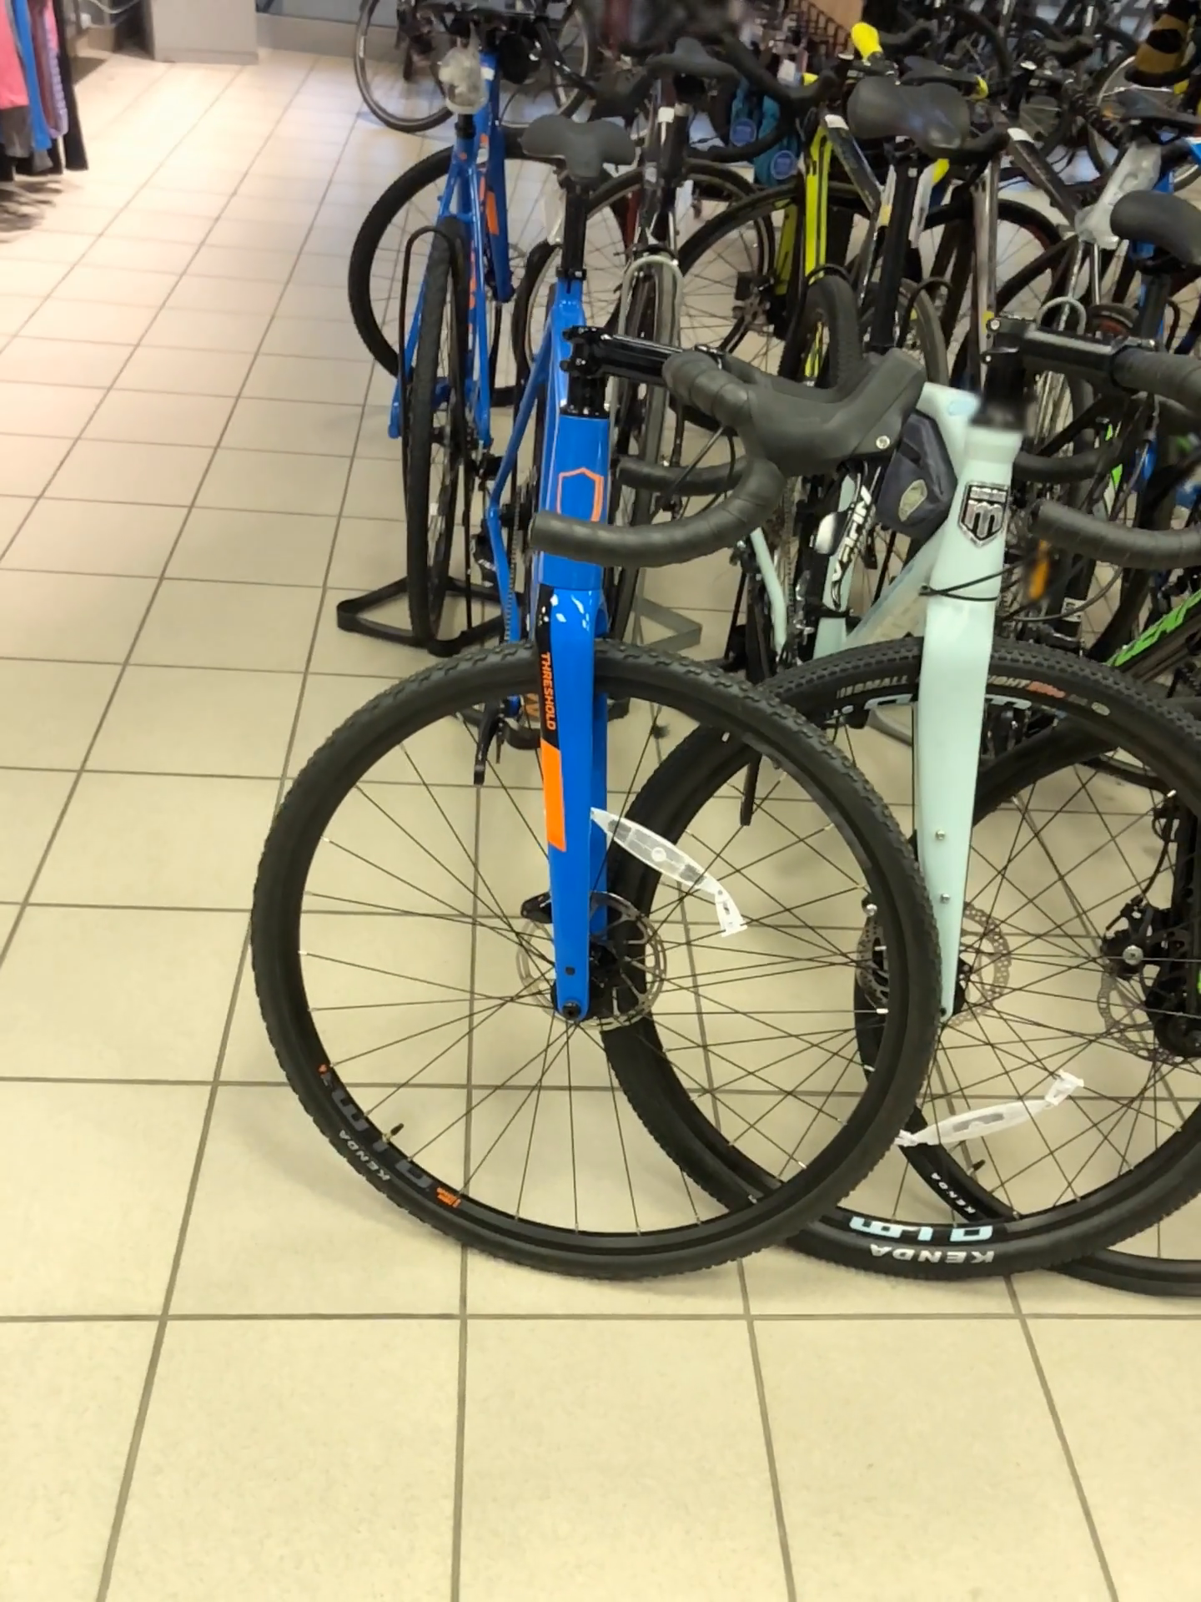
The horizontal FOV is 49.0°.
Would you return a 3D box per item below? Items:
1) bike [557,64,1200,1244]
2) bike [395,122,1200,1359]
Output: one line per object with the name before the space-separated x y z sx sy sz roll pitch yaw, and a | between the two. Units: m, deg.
bike | 0.487 -0.298 1.748 0.616 0.870 1.428 -5 40 -15
bike | 0.122 -0.191 1.785 0.525 0.805 1.476 -5 44 -15
